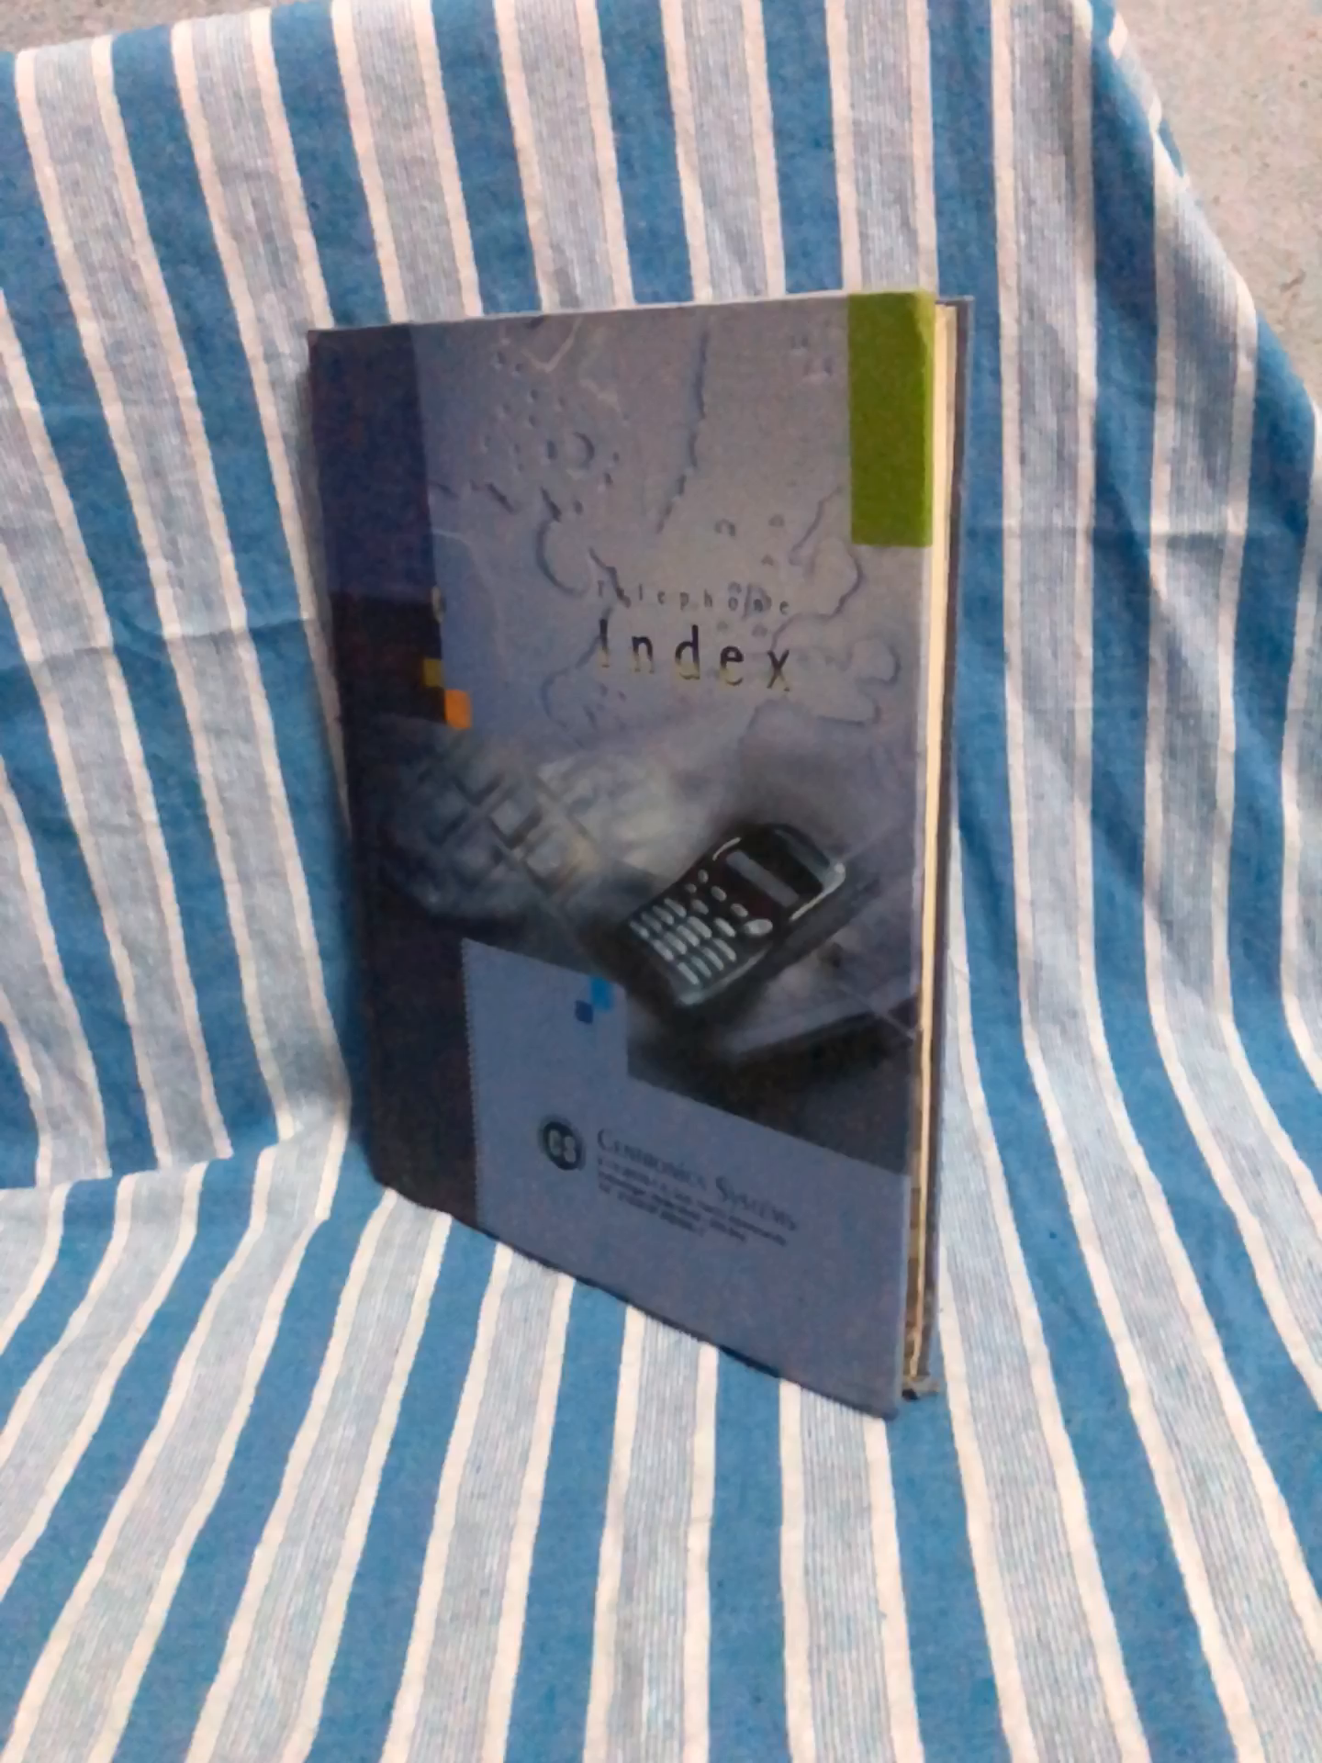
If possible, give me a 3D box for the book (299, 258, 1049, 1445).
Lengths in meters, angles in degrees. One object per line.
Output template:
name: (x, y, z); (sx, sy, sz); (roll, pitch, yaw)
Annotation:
book: (-0.007, -0.011, 0.363); (0.193, 0.252, 0.023); (14, 24, 37)
